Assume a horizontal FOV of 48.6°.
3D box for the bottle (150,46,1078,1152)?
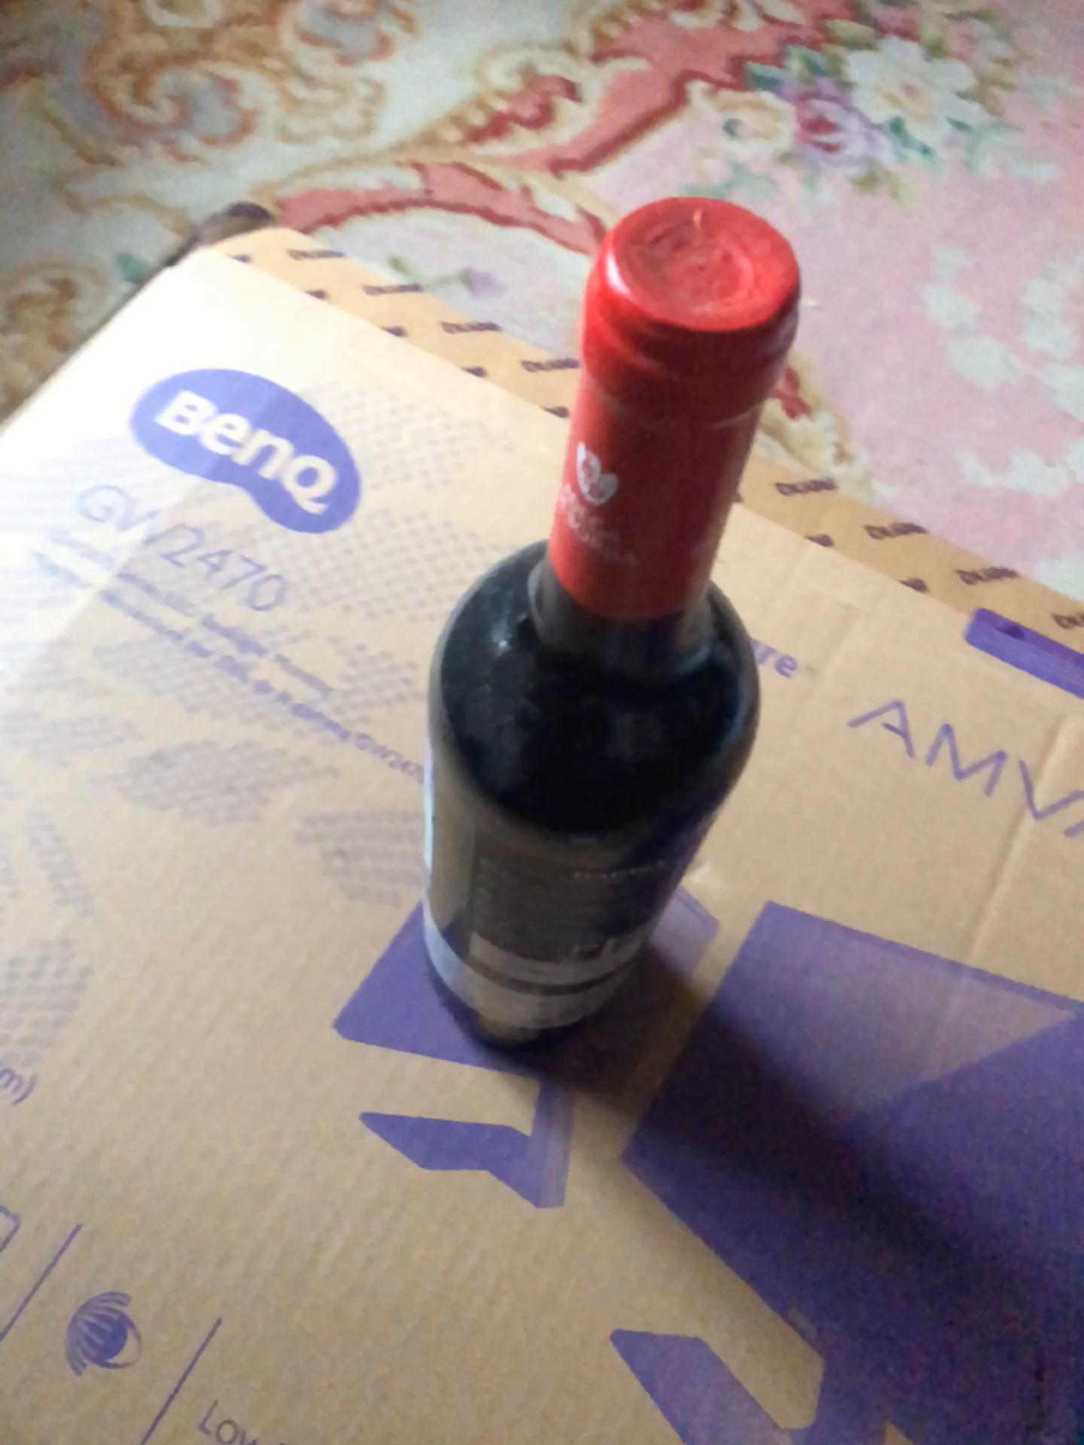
[{"bbox_3d":[0.006,0.019,0.291,0.090,0.299,0.090,1,63,-2],"label":"bottle"}]
